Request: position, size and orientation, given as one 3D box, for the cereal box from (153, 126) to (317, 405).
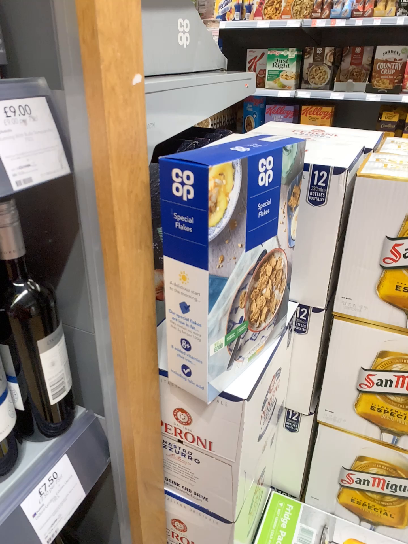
[{"bbox_3d":[0.043,-0.018,0.494,0.070,0.268,0.201,19,33,33],"label":"cereal box"}]
